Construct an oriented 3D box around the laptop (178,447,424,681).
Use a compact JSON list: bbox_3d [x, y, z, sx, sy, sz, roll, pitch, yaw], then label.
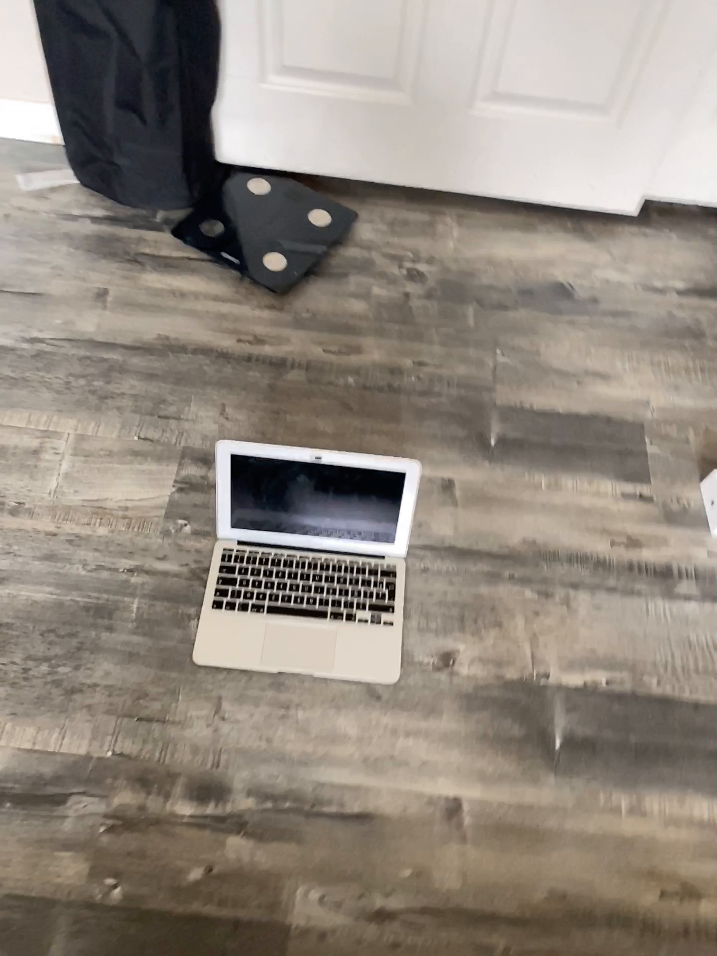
[{"bbox_3d":[-0.068,0.120,1.011,0.290,0.159,0.255,6,57,-2],"label":"laptop"}]
